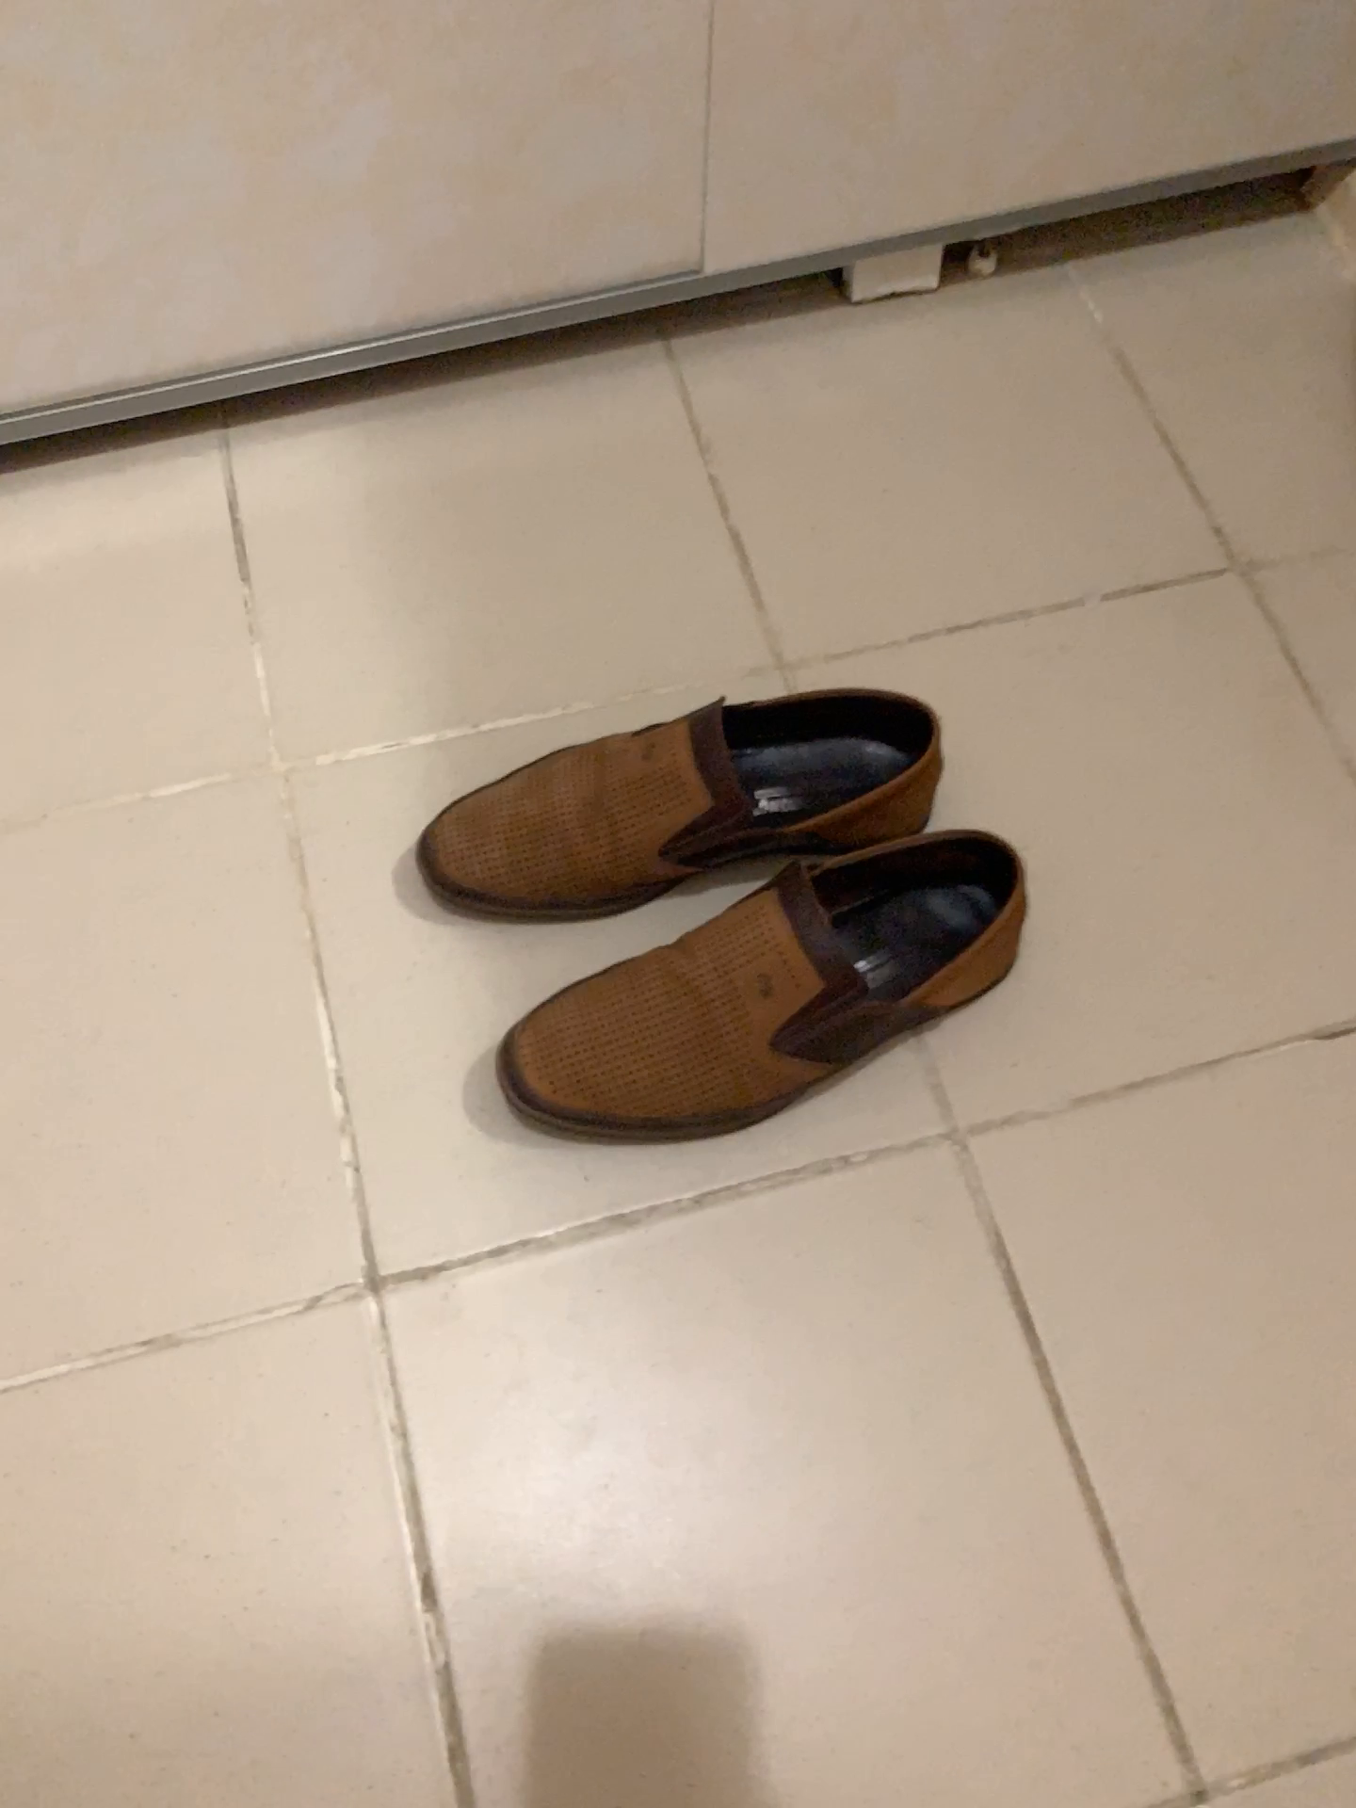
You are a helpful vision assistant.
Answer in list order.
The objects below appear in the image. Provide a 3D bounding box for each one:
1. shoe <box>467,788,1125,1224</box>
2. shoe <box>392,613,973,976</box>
[{"bbox_3d":[0.055,0.050,0.695,0.290,0.090,0.110,-17,66,-9],"label":"shoe"},{"bbox_3d":[0.000,-0.058,0.727,0.270,0.080,0.110,-13,65,-8],"label":"shoe"}]
